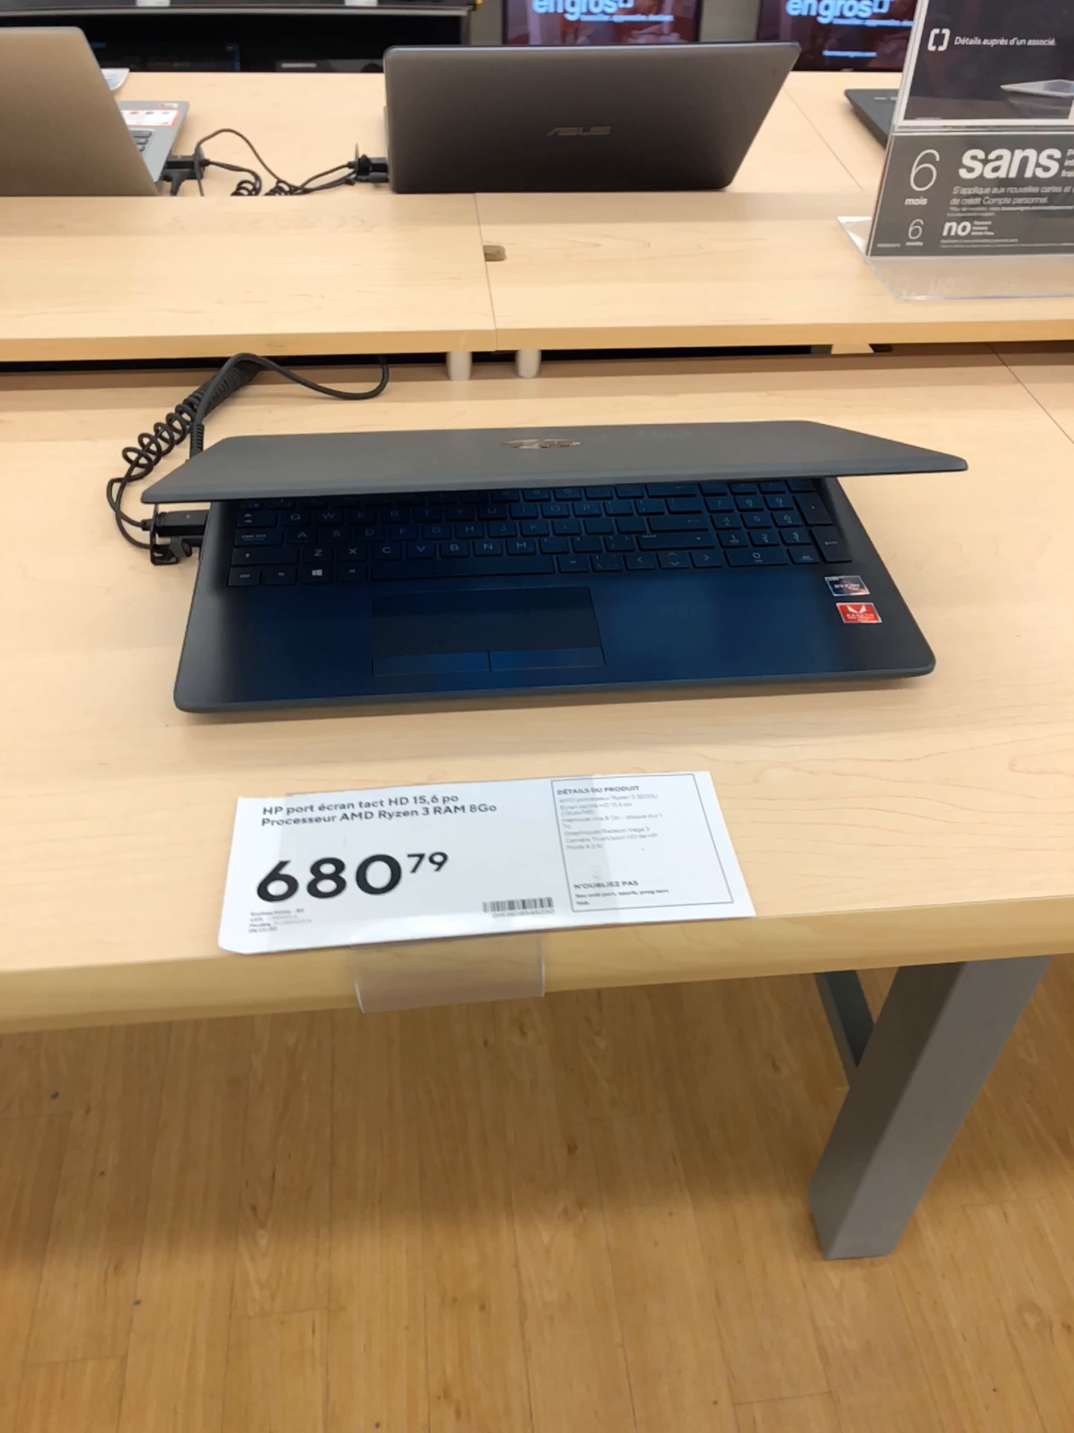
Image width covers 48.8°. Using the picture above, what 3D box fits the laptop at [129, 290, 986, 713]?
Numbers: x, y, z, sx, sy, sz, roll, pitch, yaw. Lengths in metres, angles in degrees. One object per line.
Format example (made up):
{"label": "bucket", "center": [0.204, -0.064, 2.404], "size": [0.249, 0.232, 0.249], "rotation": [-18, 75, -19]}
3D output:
{"label": "laptop", "center": [0.005, -0.127, 0.619], "size": [0.366, 0.090, 0.243], "rotation": [-3, 42, -7]}
